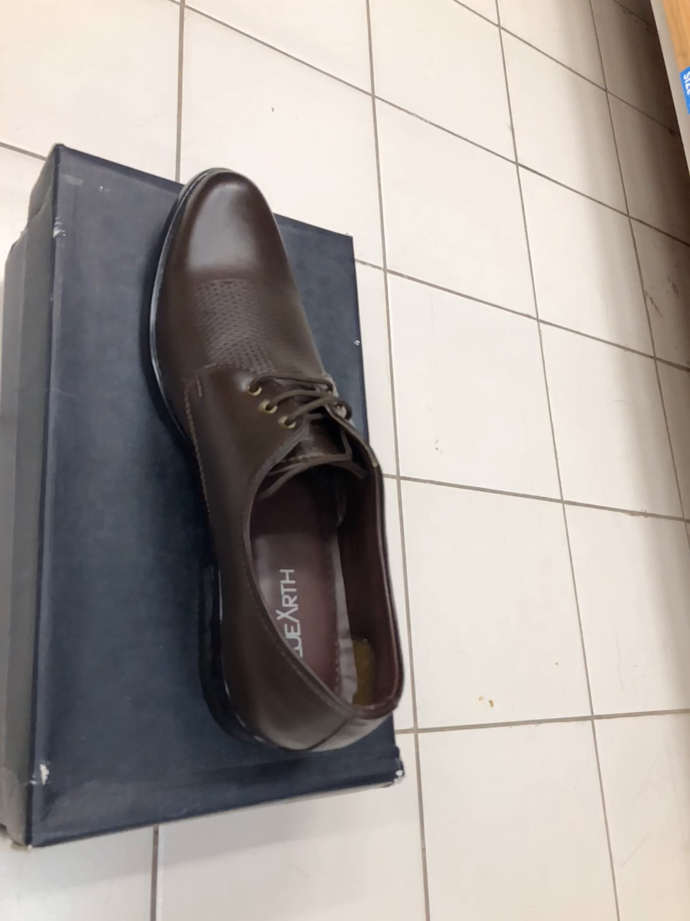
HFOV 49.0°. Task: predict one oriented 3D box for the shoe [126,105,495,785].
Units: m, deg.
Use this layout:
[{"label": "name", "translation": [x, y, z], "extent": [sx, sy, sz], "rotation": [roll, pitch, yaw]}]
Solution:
[{"label": "shoe", "translation": [-0.028, -0.006, 0.382], "extent": [0.104, 0.109, 0.290], "rotation": [0, 74, -35]}]
